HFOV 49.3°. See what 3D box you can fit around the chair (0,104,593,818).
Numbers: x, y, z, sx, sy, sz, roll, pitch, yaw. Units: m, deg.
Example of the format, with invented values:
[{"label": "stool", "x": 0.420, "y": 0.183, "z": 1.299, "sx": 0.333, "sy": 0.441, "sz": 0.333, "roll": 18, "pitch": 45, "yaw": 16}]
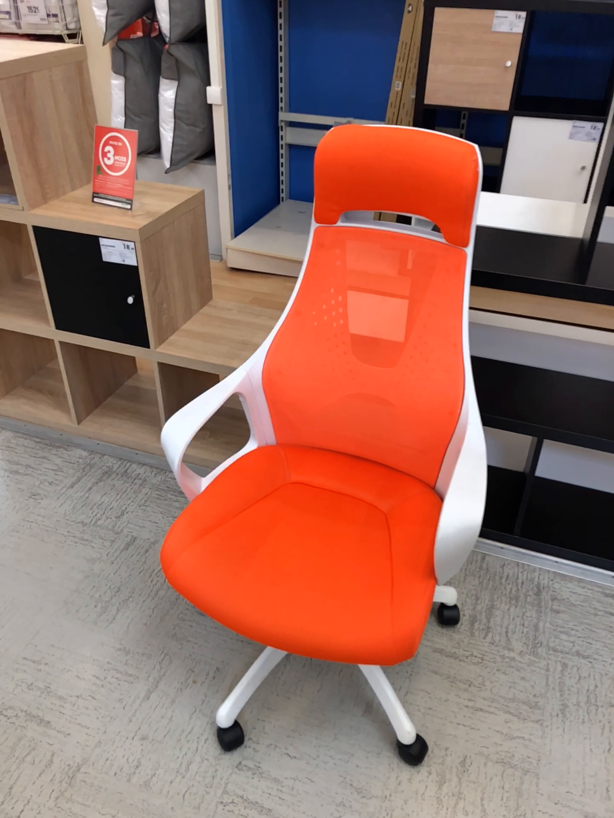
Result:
[{"label": "chair", "x": 0.039, "y": 0.070, "z": 1.301, "sx": 0.679, "sy": 1.053, "sz": 0.755, "roll": 14, "pitch": 36, "yaw": 19}]
